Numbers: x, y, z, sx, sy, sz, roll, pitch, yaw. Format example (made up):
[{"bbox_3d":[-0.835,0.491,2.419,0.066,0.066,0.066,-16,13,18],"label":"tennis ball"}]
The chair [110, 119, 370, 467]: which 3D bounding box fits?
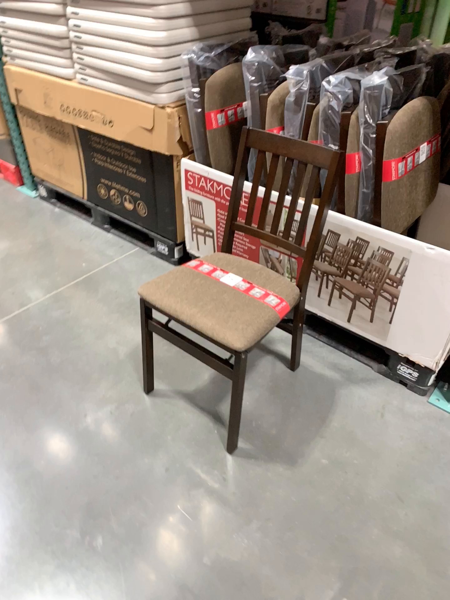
[{"bbox_3d":[0.057,-0.030,1.450,0.421,0.837,0.573,26,45,28],"label":"chair"}]
